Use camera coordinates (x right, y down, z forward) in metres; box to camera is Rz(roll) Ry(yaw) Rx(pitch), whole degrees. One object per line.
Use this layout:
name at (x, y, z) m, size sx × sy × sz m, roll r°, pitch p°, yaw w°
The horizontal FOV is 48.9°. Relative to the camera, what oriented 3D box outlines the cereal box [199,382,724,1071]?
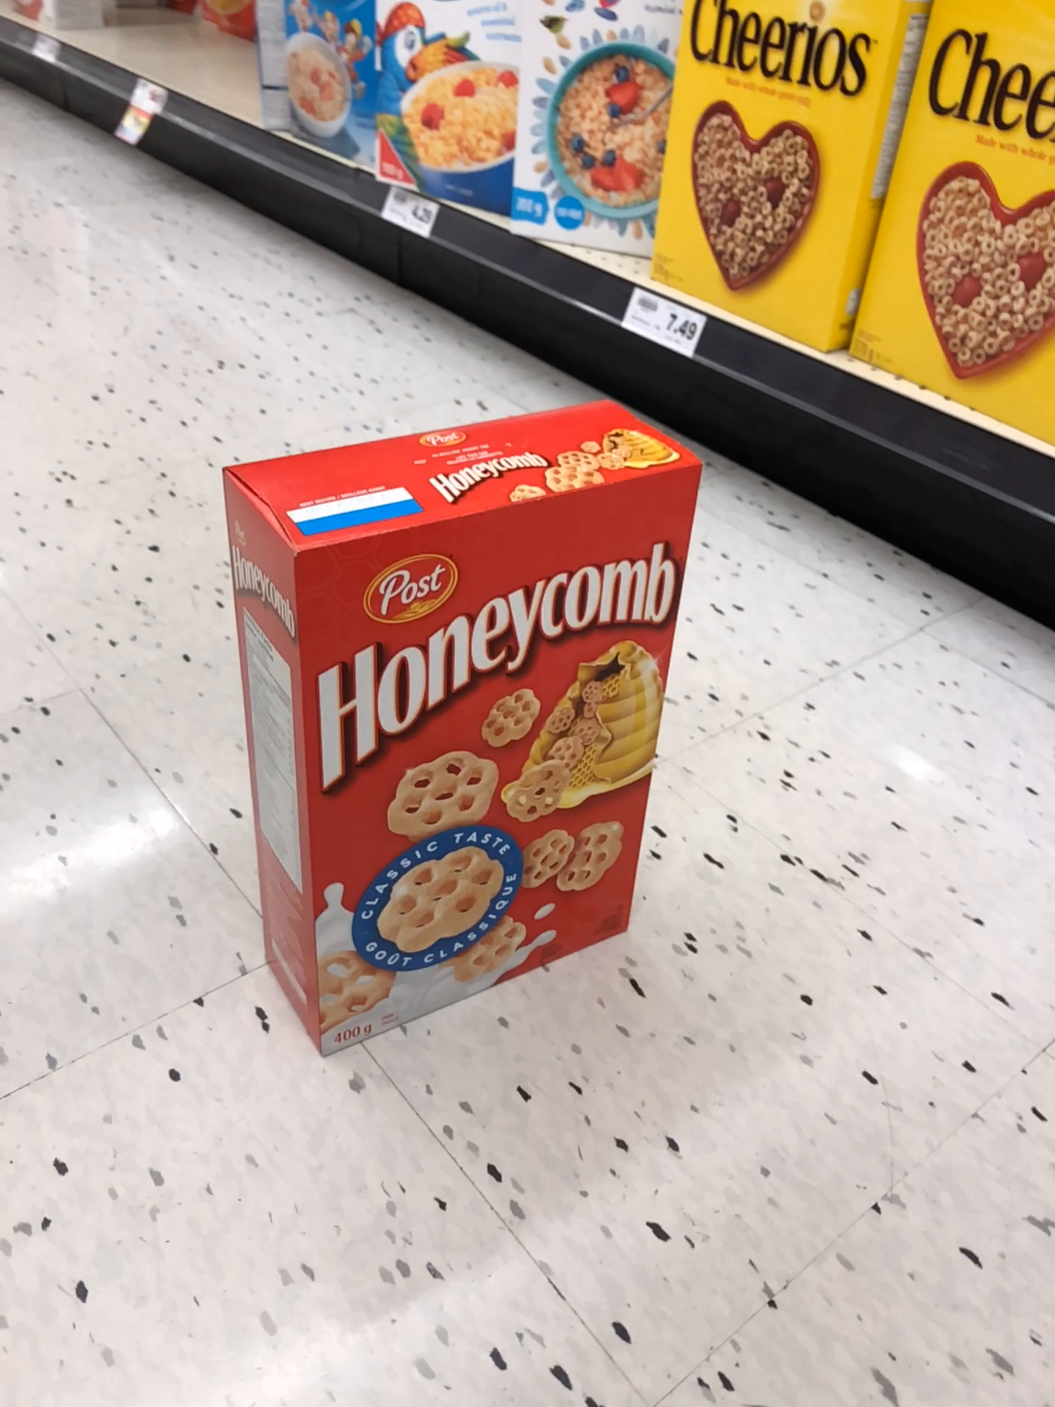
cereal box at (-0.034, 0.016, 0.562) m, size 0.200 × 0.298 × 0.080 m, roll -16°, pitch 41°, yaw -27°
